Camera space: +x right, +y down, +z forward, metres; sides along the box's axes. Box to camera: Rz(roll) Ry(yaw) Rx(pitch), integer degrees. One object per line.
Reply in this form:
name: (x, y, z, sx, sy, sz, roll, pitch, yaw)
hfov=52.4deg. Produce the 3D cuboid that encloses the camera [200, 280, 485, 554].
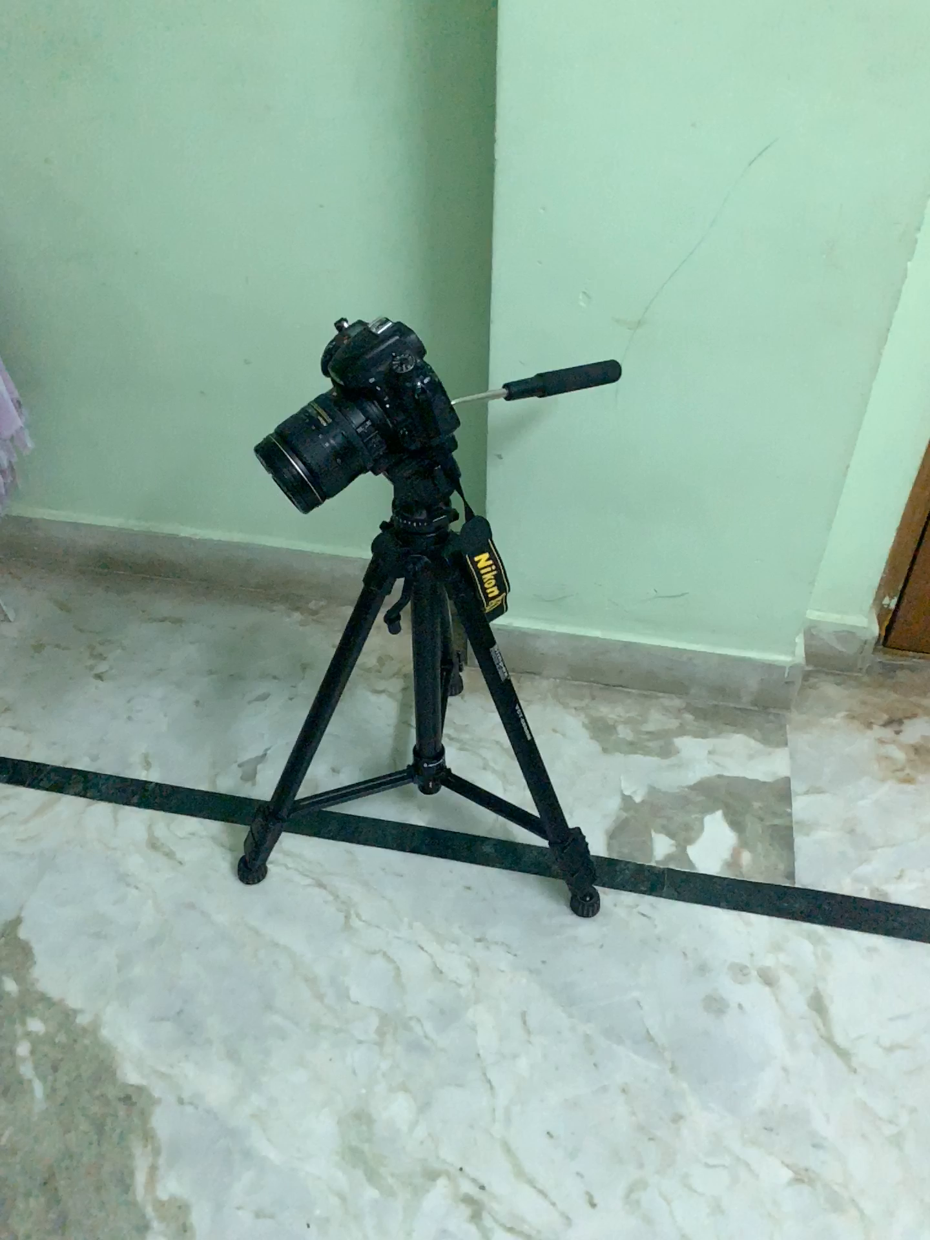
camera: (-0.115, -0.192, 0.877, 0.180, 0.110, 0.171, -38, 48, -6)
